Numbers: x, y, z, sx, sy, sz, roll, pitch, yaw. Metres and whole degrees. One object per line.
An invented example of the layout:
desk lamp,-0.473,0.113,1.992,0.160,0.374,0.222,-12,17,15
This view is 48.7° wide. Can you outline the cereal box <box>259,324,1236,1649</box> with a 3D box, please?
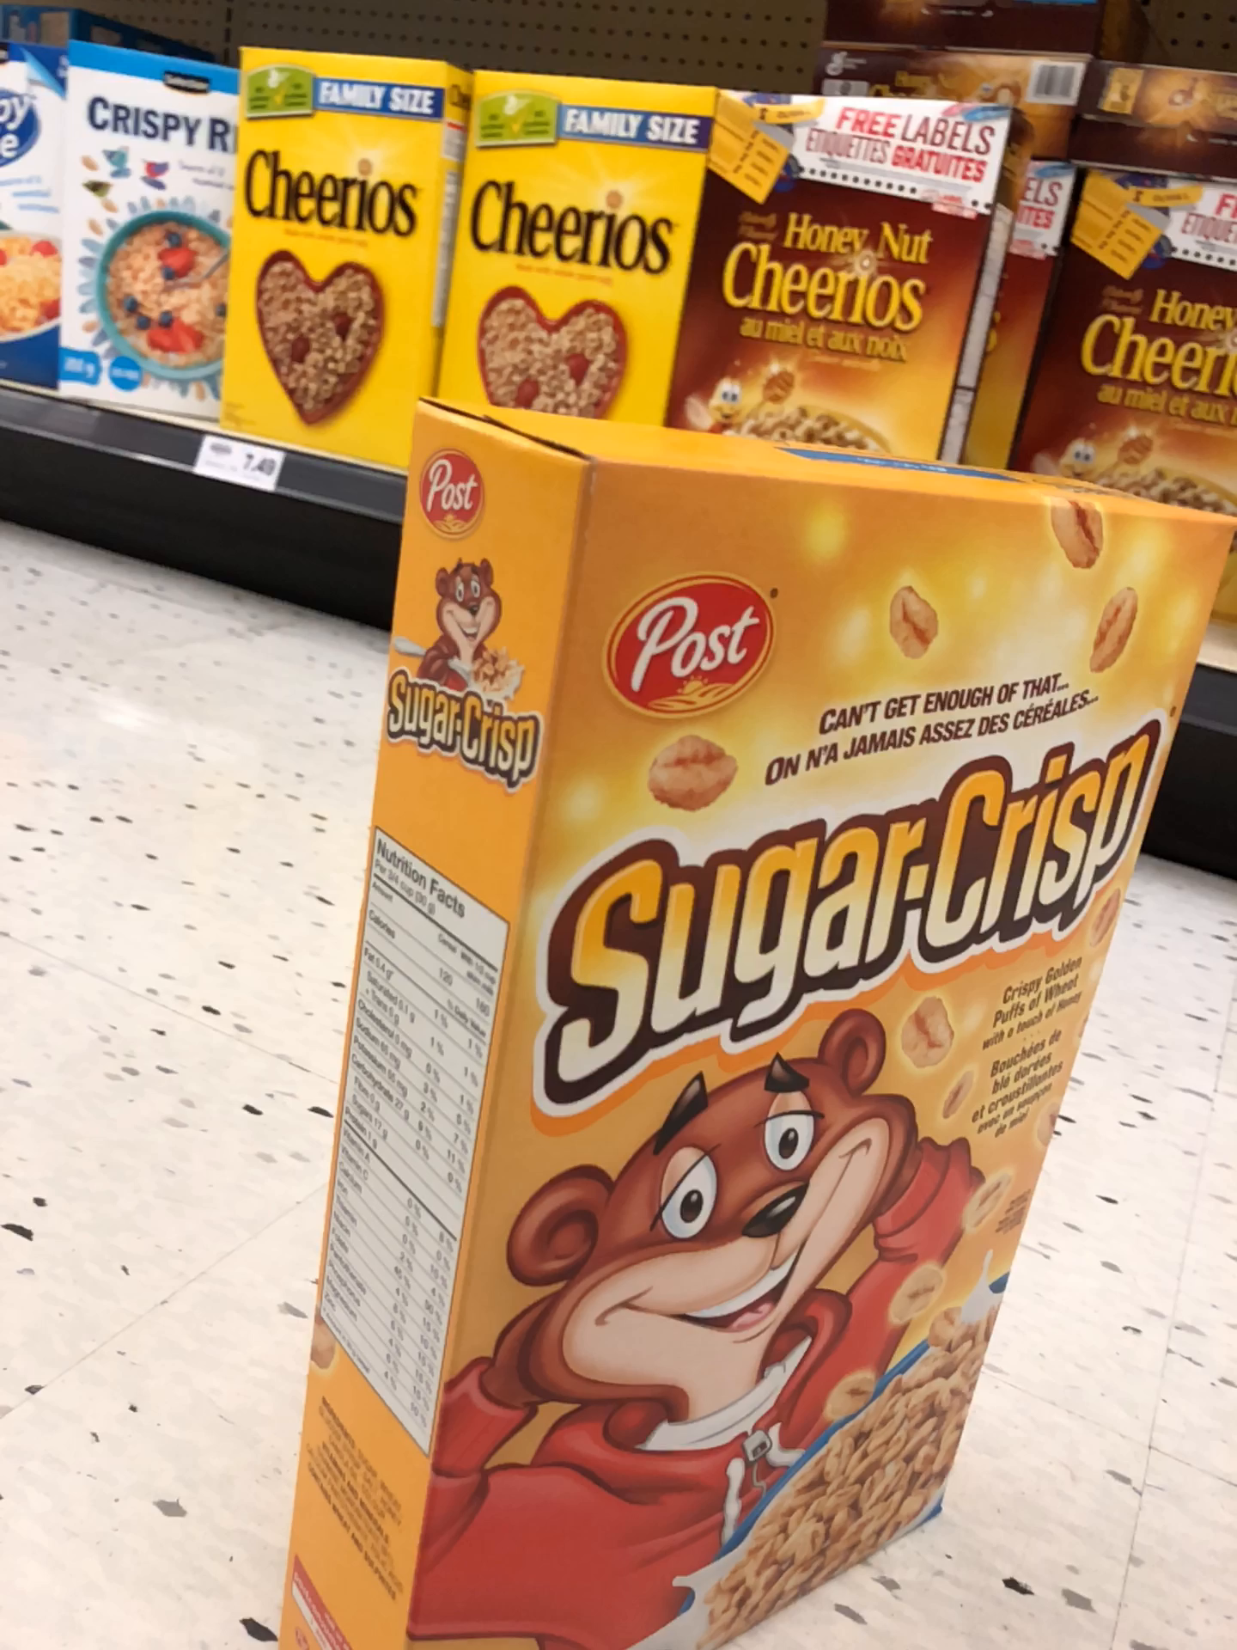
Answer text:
cereal box,0.041,0.060,0.313,0.210,0.299,0.060,-6,24,-39
